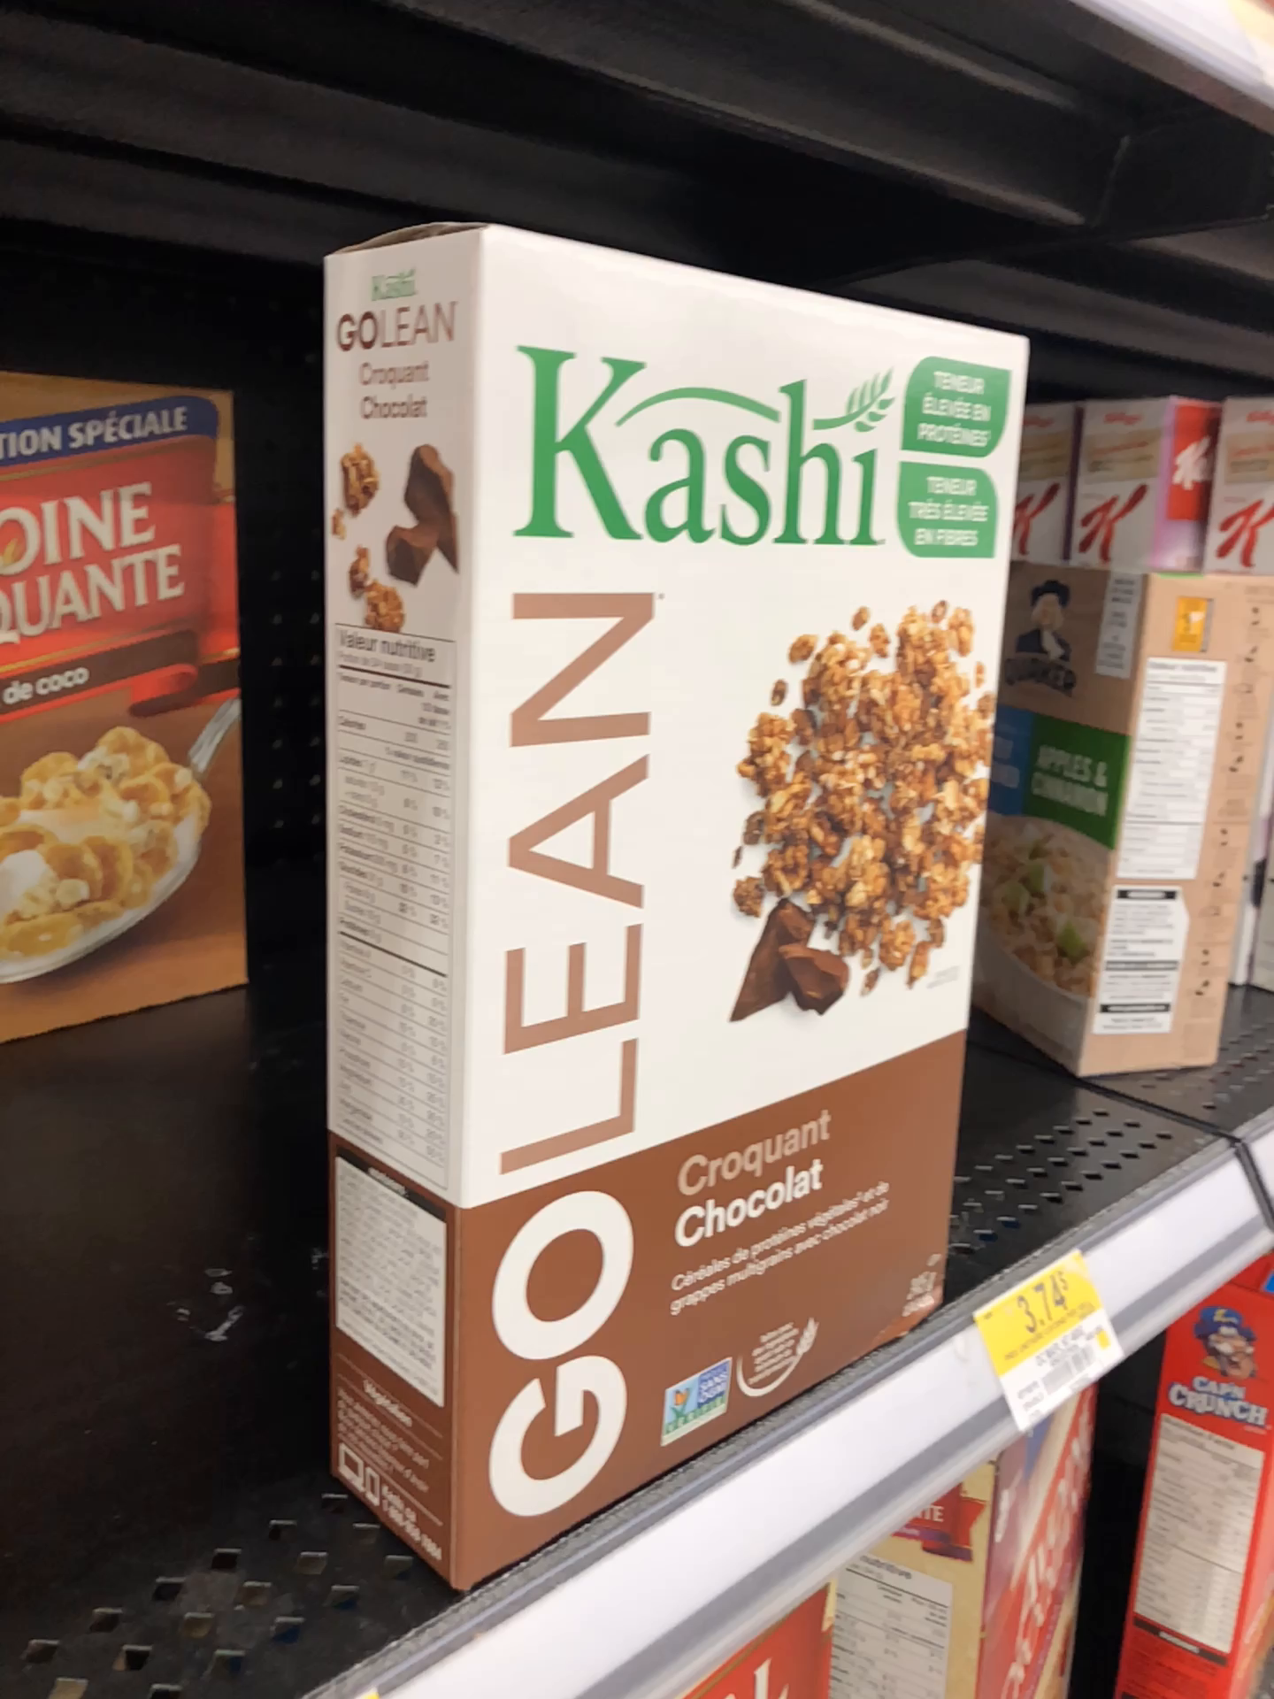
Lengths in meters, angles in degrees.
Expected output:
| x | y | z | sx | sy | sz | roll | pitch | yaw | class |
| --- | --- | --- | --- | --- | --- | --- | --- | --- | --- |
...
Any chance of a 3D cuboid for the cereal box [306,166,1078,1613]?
| x | y | z | sx | sy | sz | roll | pitch | yaw | class |
| --- | --- | --- | --- | --- | --- | --- | --- | --- | --- |
| 0.016 | 0.004 | 0.311 | 0.170 | 0.249 | 0.050 | -10 | 18 | -43 | cereal box |
